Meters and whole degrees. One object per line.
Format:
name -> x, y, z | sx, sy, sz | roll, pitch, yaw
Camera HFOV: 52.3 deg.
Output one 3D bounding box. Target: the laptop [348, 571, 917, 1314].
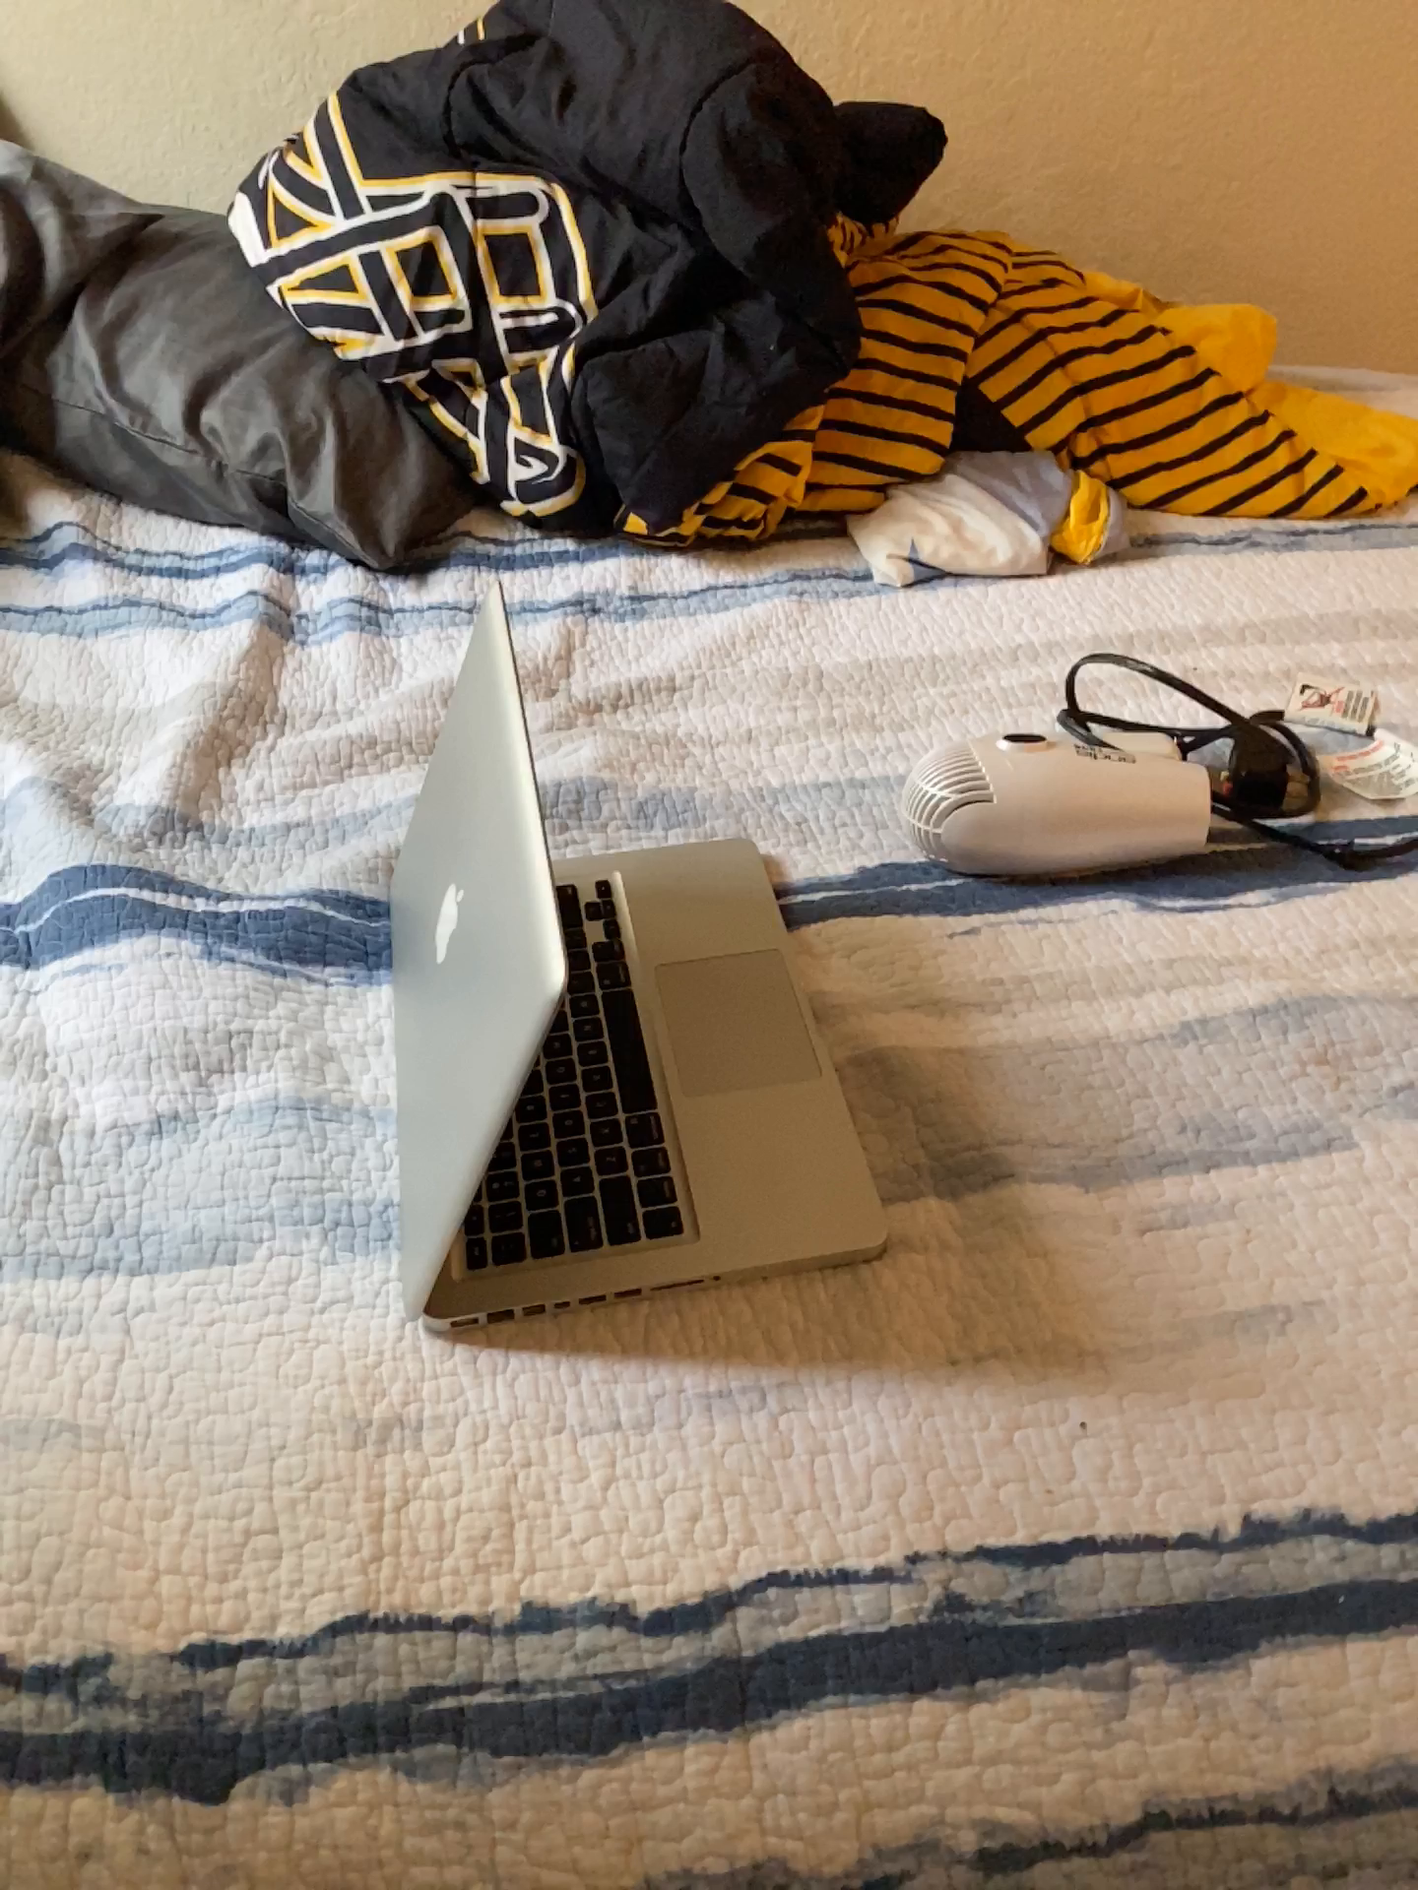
laptop -> -0.052, -0.016, 0.713 | 0.214, 0.188, 0.302 | -7, 43, -6
